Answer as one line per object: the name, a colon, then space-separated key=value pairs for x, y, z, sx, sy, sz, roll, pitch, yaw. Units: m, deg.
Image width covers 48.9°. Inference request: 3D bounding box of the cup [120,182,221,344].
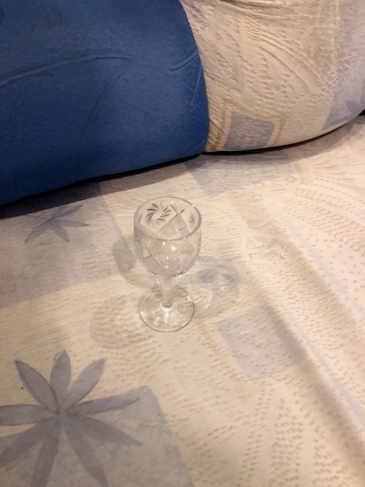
cup: x=-0.007 y=0.020 z=0.331 sx=0.060 sy=0.119 sz=0.060 roll=0 pitch=46 yaw=0
